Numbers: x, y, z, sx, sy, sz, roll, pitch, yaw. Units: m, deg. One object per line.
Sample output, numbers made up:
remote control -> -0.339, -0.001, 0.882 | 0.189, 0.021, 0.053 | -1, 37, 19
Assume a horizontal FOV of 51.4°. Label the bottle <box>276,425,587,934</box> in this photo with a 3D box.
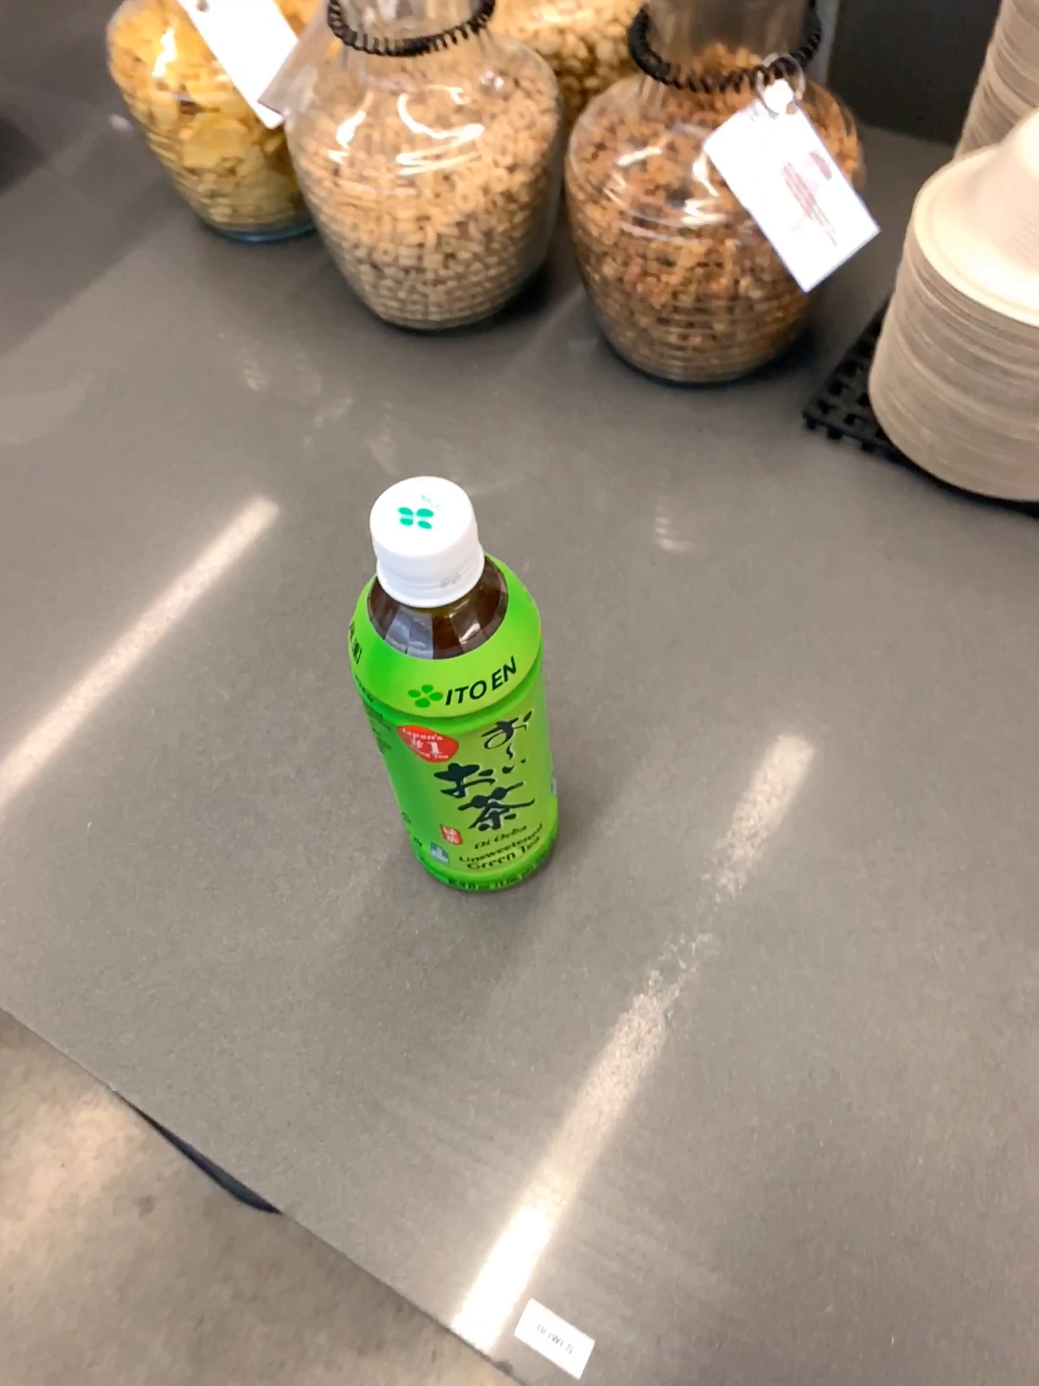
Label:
bottle -> -0.022, 0.009, 0.395 | 0.070, 0.200, 0.070 | -2, 57, 3
